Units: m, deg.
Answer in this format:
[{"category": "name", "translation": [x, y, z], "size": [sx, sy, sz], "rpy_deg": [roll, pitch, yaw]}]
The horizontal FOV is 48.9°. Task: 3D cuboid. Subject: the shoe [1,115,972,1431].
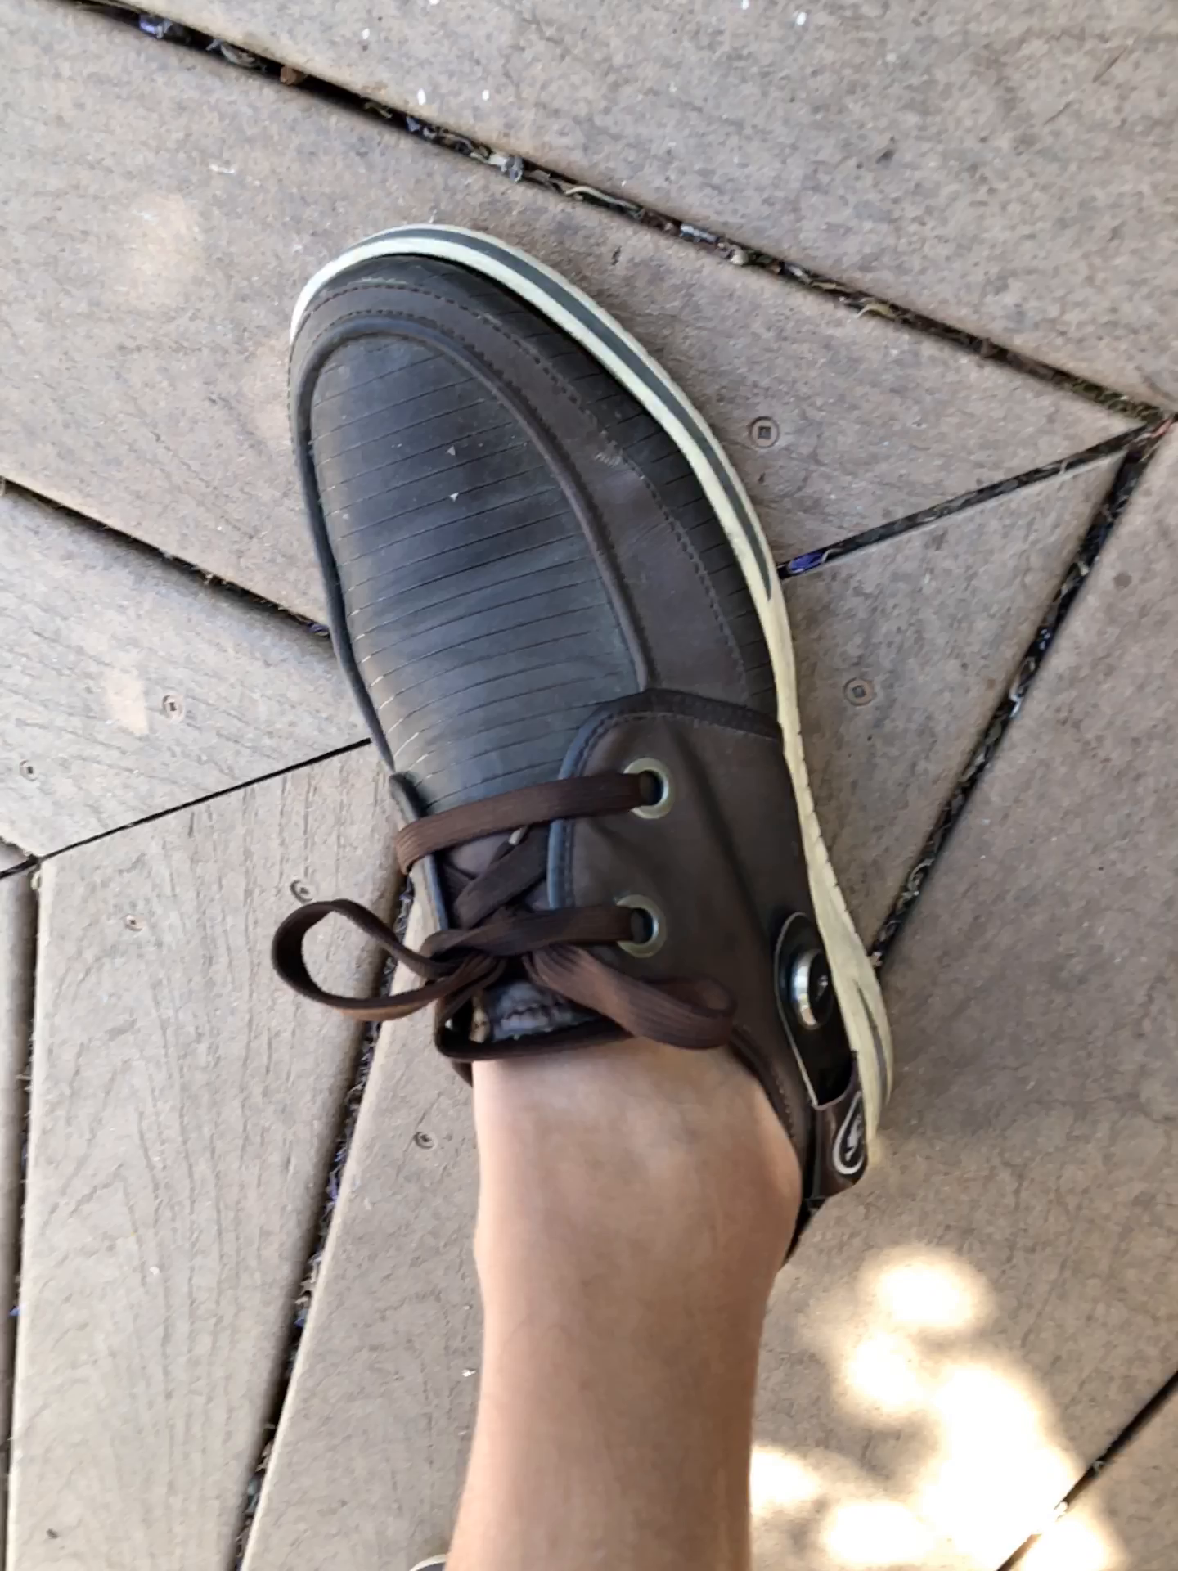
[{"category": "shoe", "translation": [-0.003, 0.010, 0.318], "size": [0.107, 0.096, 0.289], "rpy_deg": [-13, 110, 27]}]
